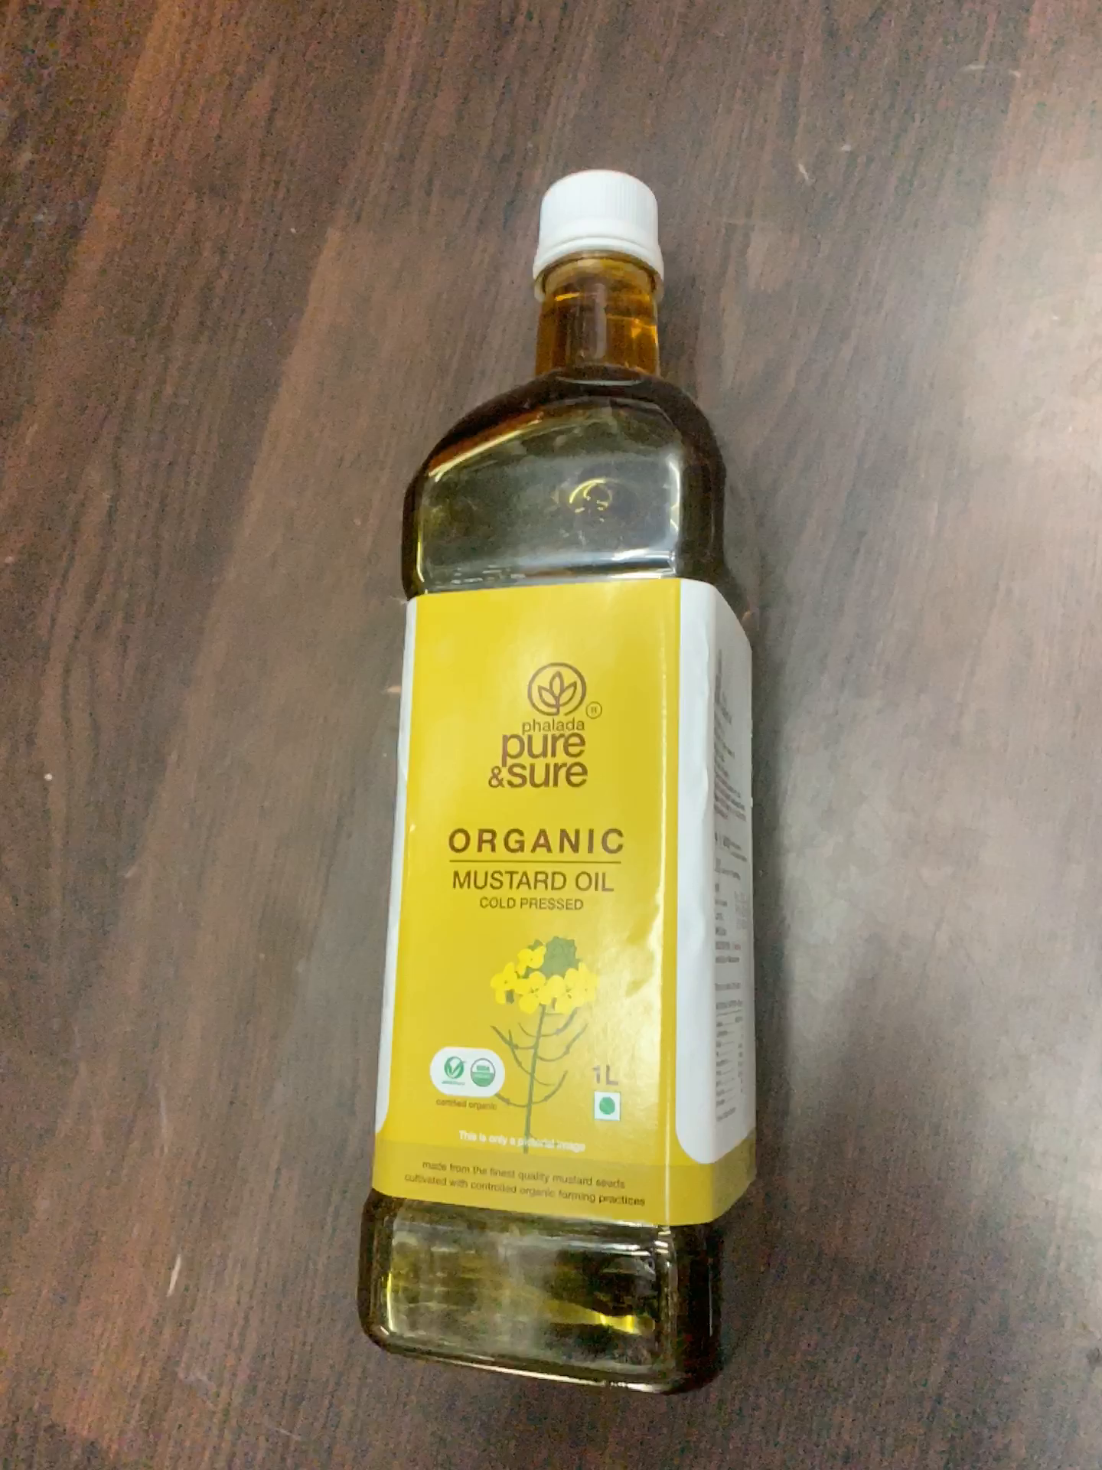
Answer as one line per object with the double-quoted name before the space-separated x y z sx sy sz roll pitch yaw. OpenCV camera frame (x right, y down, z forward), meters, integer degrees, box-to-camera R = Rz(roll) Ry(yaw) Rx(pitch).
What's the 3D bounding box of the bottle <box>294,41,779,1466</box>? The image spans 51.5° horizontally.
"bottle" 0.007 -0.003 0.263 0.080 0.080 0.270 -1 79 18
